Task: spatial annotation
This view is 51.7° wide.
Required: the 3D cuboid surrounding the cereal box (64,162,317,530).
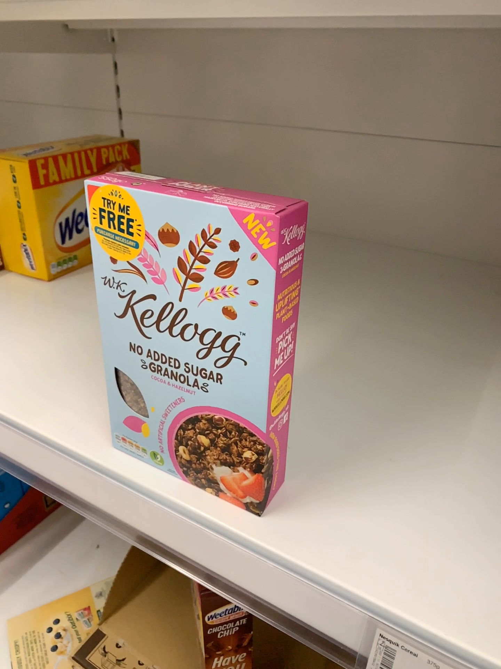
[{"bbox_3d":[-0.046,0.009,0.399,0.170,0.248,0.050,17,32,27],"label":"cereal box"}]
